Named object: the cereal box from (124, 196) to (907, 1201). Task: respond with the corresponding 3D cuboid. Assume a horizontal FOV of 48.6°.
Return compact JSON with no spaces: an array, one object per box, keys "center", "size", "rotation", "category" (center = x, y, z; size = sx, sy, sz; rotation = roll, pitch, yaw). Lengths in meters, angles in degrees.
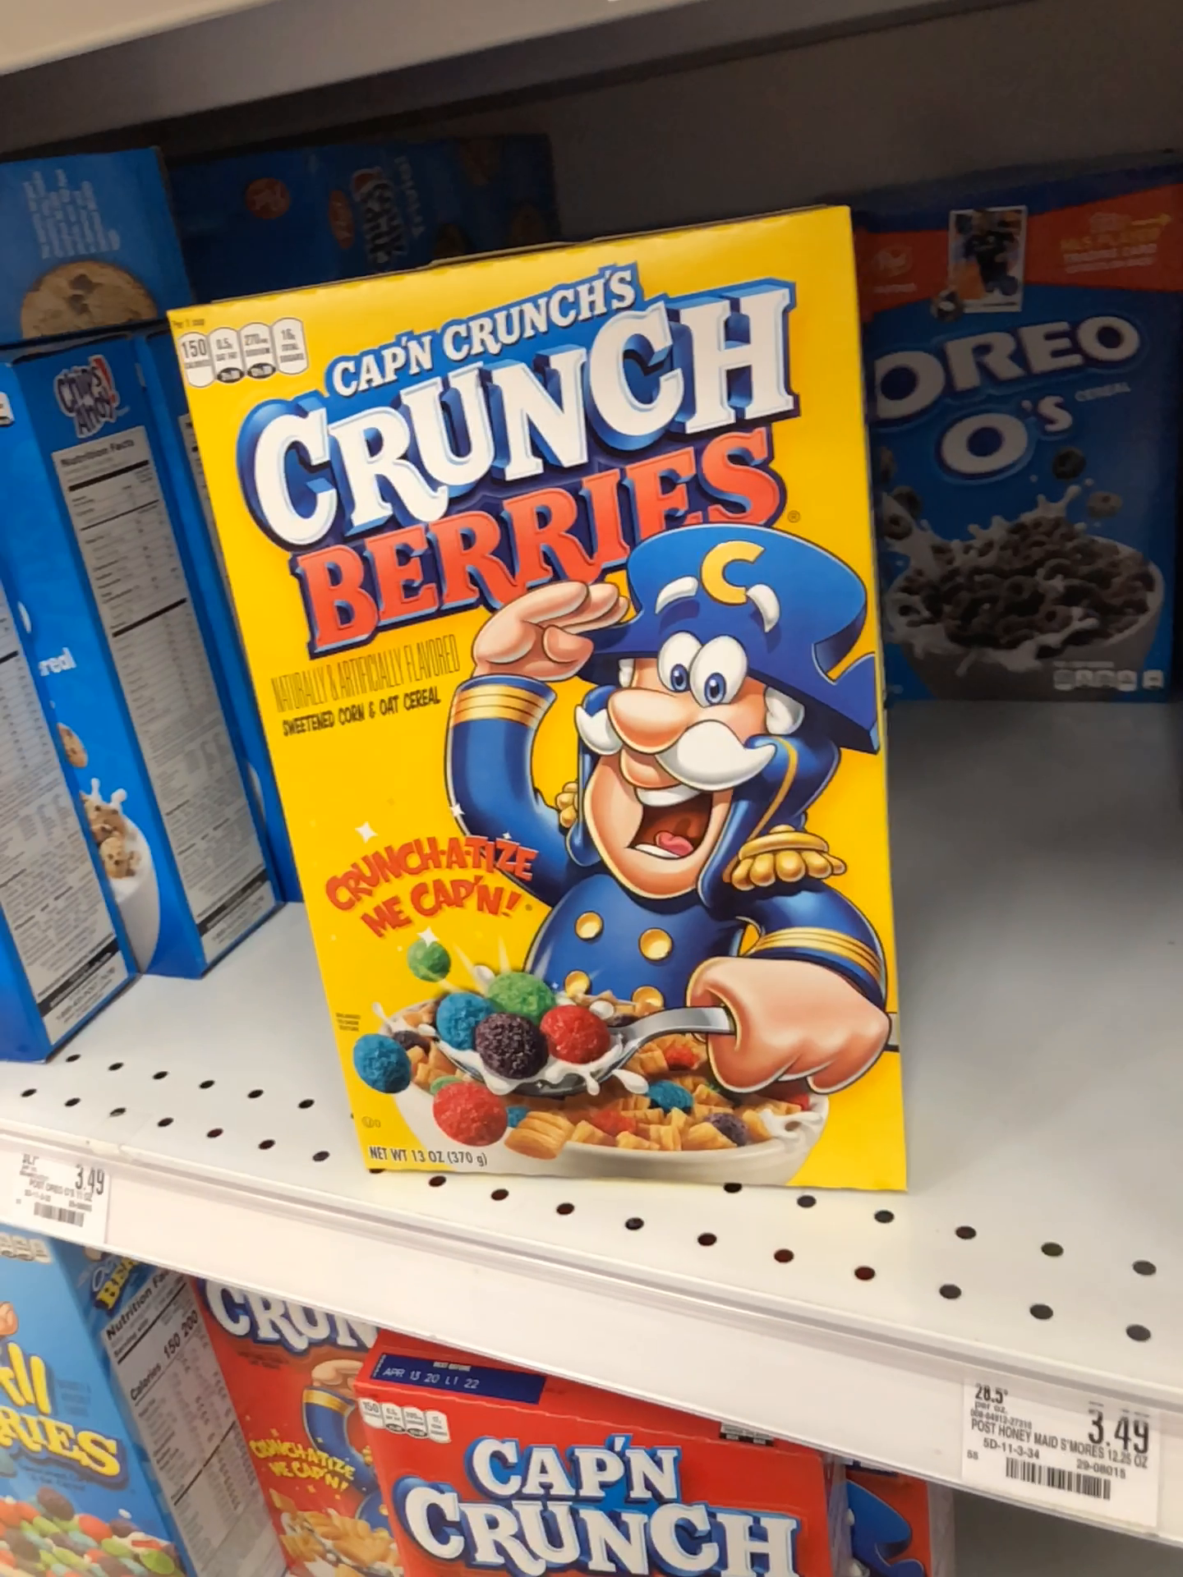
[{"center":[-0.011,-0.014,0.417],"size":[0.200,0.289,0.060],"rotation":[-2,19,16],"category":"cereal box"}]
